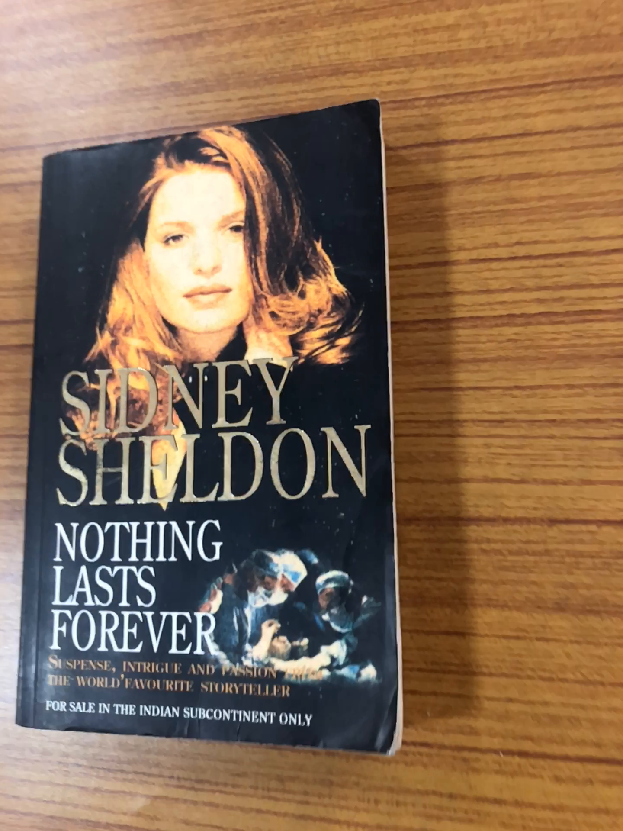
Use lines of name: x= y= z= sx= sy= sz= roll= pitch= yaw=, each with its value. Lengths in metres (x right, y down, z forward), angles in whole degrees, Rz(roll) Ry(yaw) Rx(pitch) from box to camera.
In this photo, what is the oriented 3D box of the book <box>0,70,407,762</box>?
book: x=-0.039 y=0.000 z=0.200 sx=0.120 sy=0.030 sz=0.170 roll=-4 pitch=82 yaw=13
